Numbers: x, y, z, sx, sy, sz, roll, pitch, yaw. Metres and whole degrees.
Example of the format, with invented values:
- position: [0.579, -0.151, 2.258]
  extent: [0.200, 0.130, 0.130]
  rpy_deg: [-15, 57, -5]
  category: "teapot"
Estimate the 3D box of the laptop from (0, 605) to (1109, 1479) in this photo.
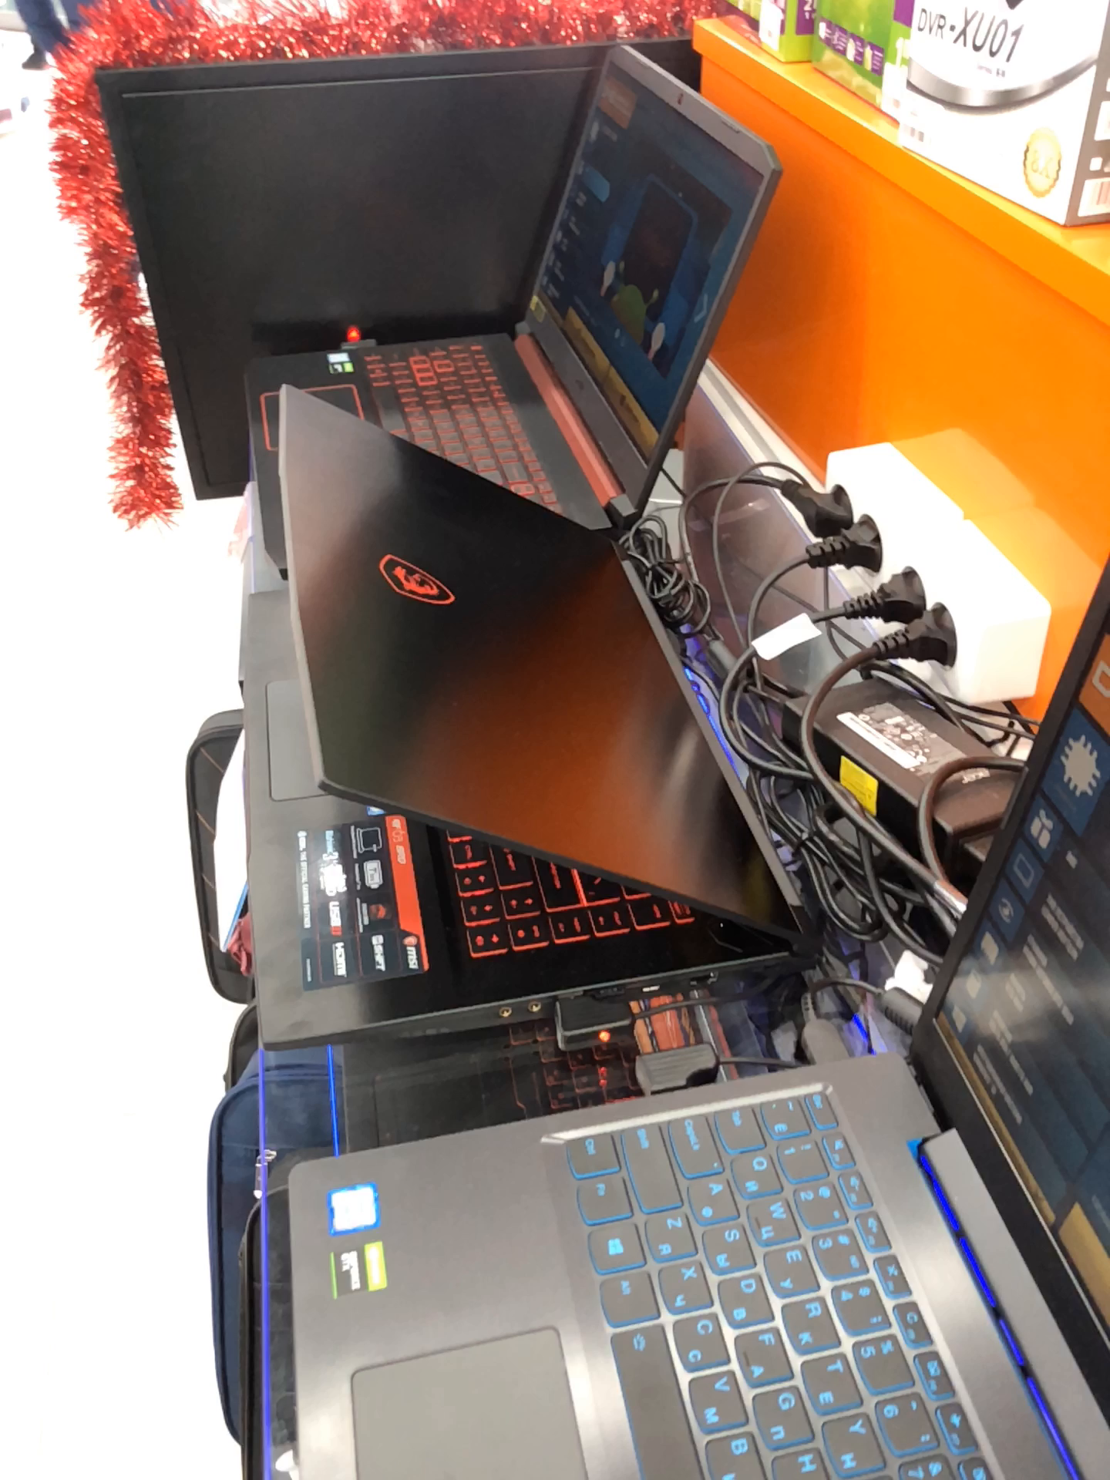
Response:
- position: [0.060, 0.150, 0.269]
  extent: [0.278, 0.228, 0.327]
  rpy_deg: [-5, 36, -5]
  category: "laptop"

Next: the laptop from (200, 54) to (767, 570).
- position: [-0.070, -0.339, 0.904]
  extent: [0.329, 0.225, 0.367]
  rpy_deg: [-9, 40, -9]
  category: "laptop"

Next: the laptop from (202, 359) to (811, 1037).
- position: [-0.050, -0.051, 0.617]
  extent: [0.225, 0.134, 0.349]
  rpy_deg: [-9, 40, -9]
  category: "laptop"
